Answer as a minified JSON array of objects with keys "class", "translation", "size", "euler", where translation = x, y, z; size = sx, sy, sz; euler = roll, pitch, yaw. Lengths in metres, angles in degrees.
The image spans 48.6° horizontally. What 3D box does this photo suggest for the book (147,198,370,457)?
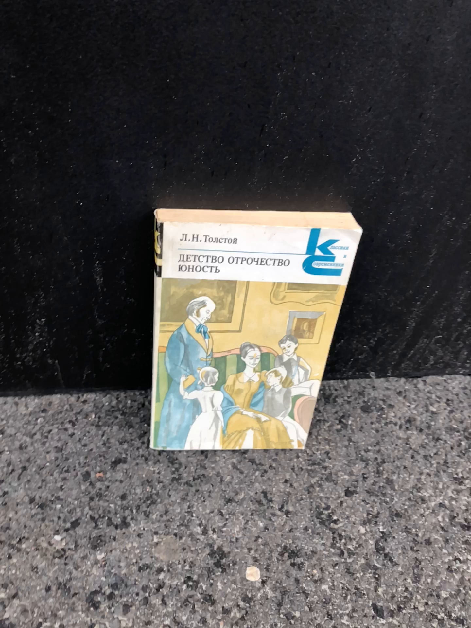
[{"class":"book","translation":[0.004,0.020,0.347],"size":[0.120,0.184,0.030],"euler":[2,34,-10]}]
